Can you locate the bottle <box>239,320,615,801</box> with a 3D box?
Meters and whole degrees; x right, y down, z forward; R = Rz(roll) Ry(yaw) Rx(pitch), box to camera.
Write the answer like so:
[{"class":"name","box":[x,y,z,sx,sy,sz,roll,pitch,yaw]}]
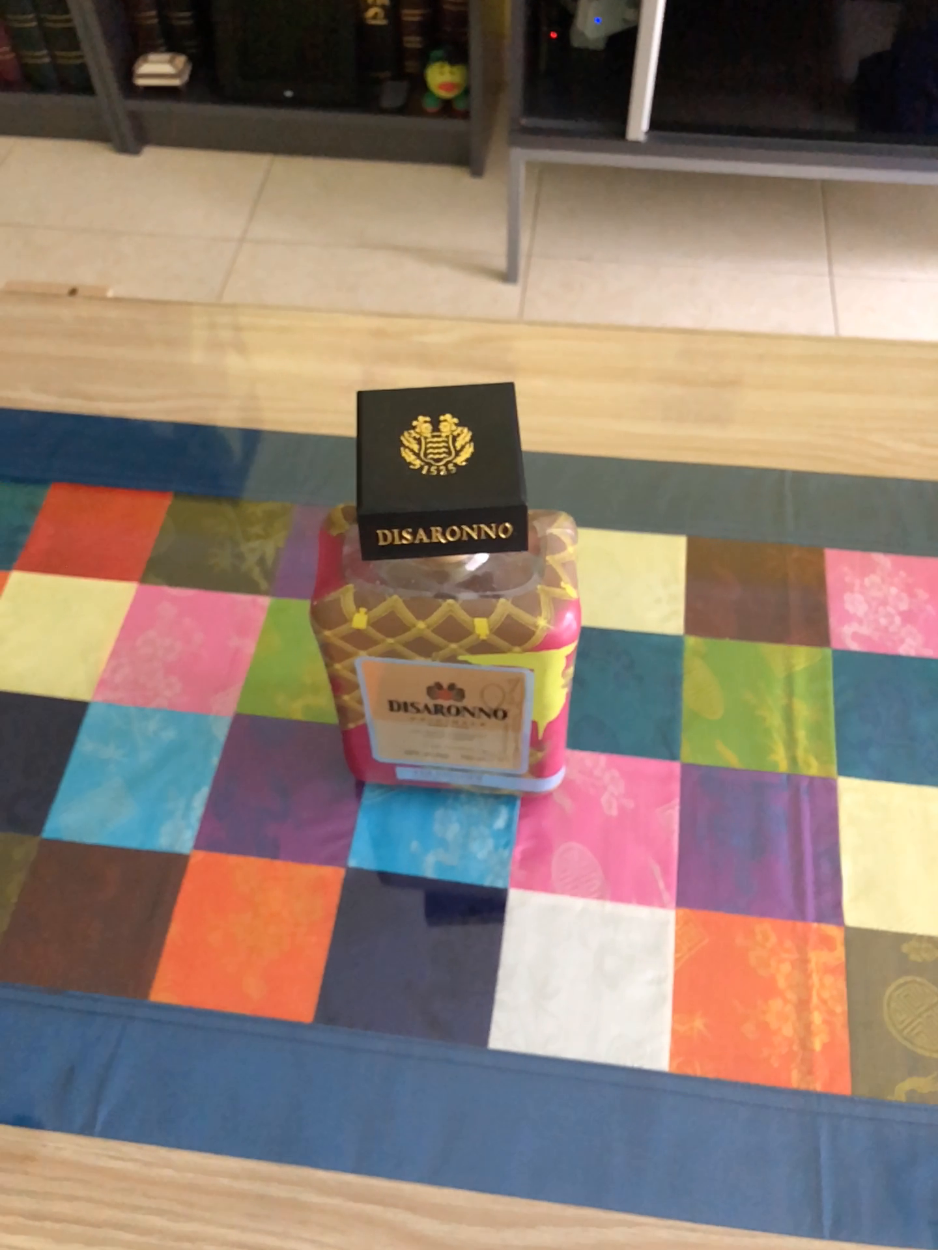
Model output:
[{"class":"bottle","box":[-0.009,-0.012,0.455,0.120,0.229,0.080,4,57,4]}]
